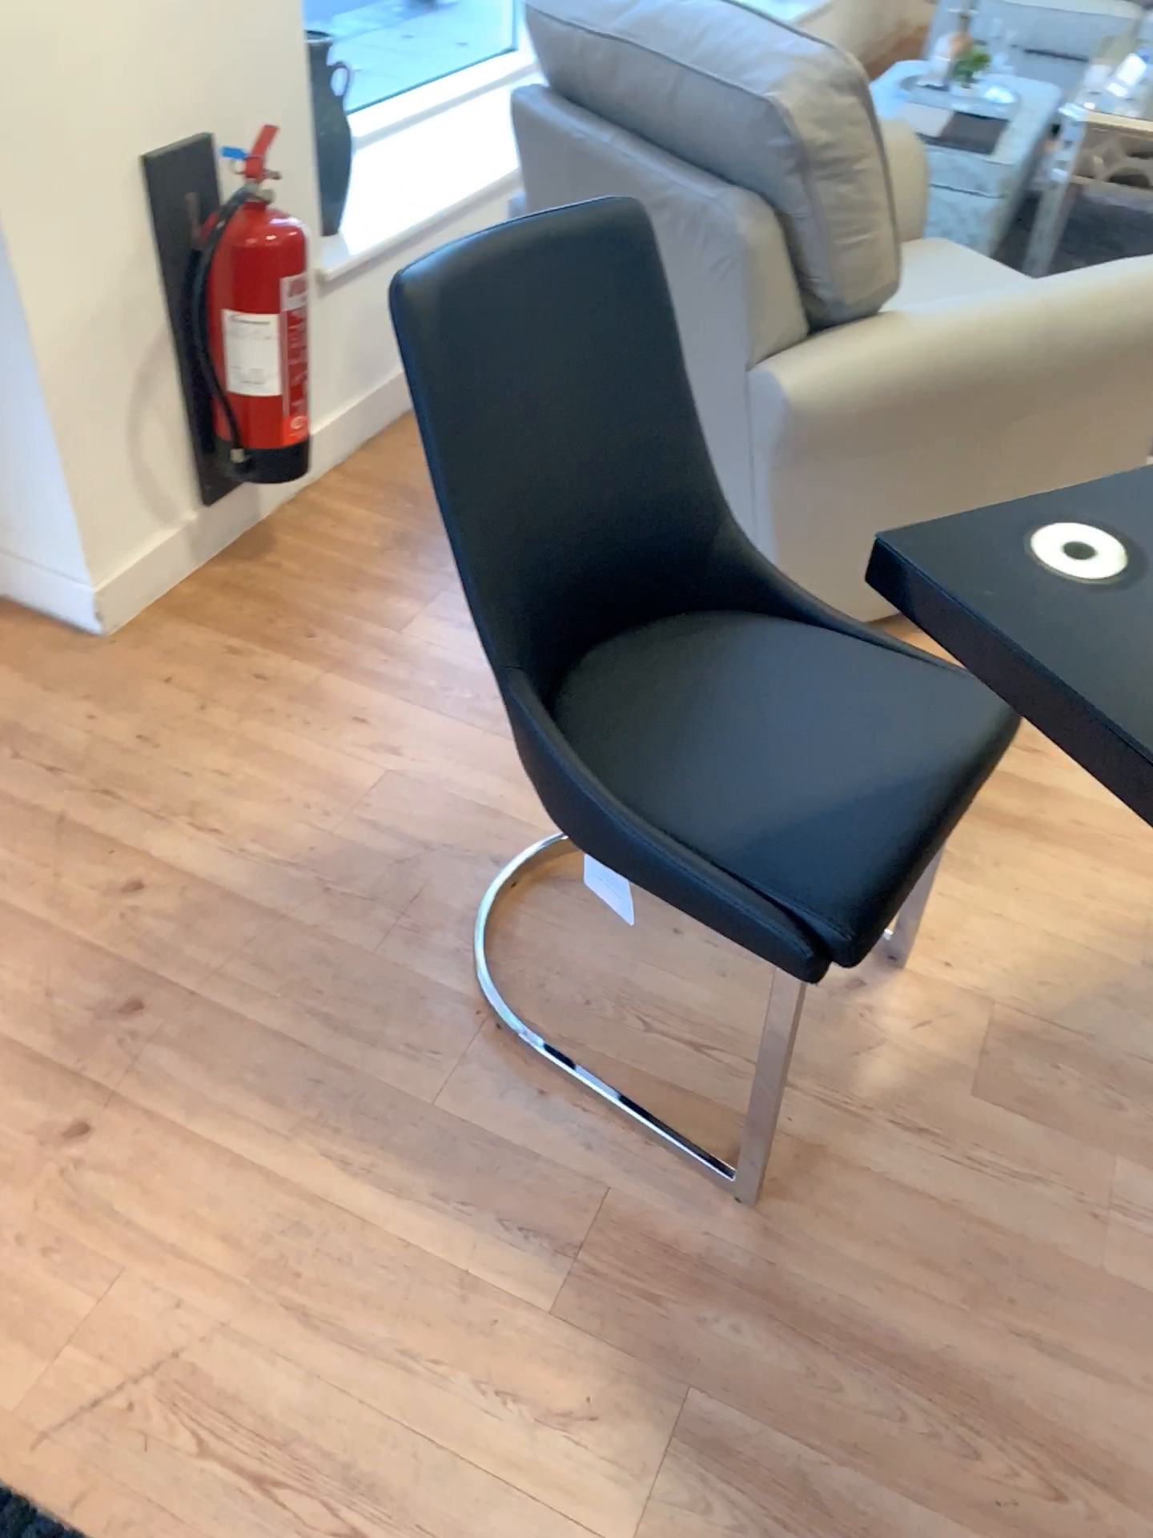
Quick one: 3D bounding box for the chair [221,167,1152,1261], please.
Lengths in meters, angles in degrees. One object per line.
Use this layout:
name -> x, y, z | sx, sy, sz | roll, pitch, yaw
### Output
chair -> 0.104, -0.067, 1.212 | 0.631, 0.812, 0.509 | 25, 45, 22
